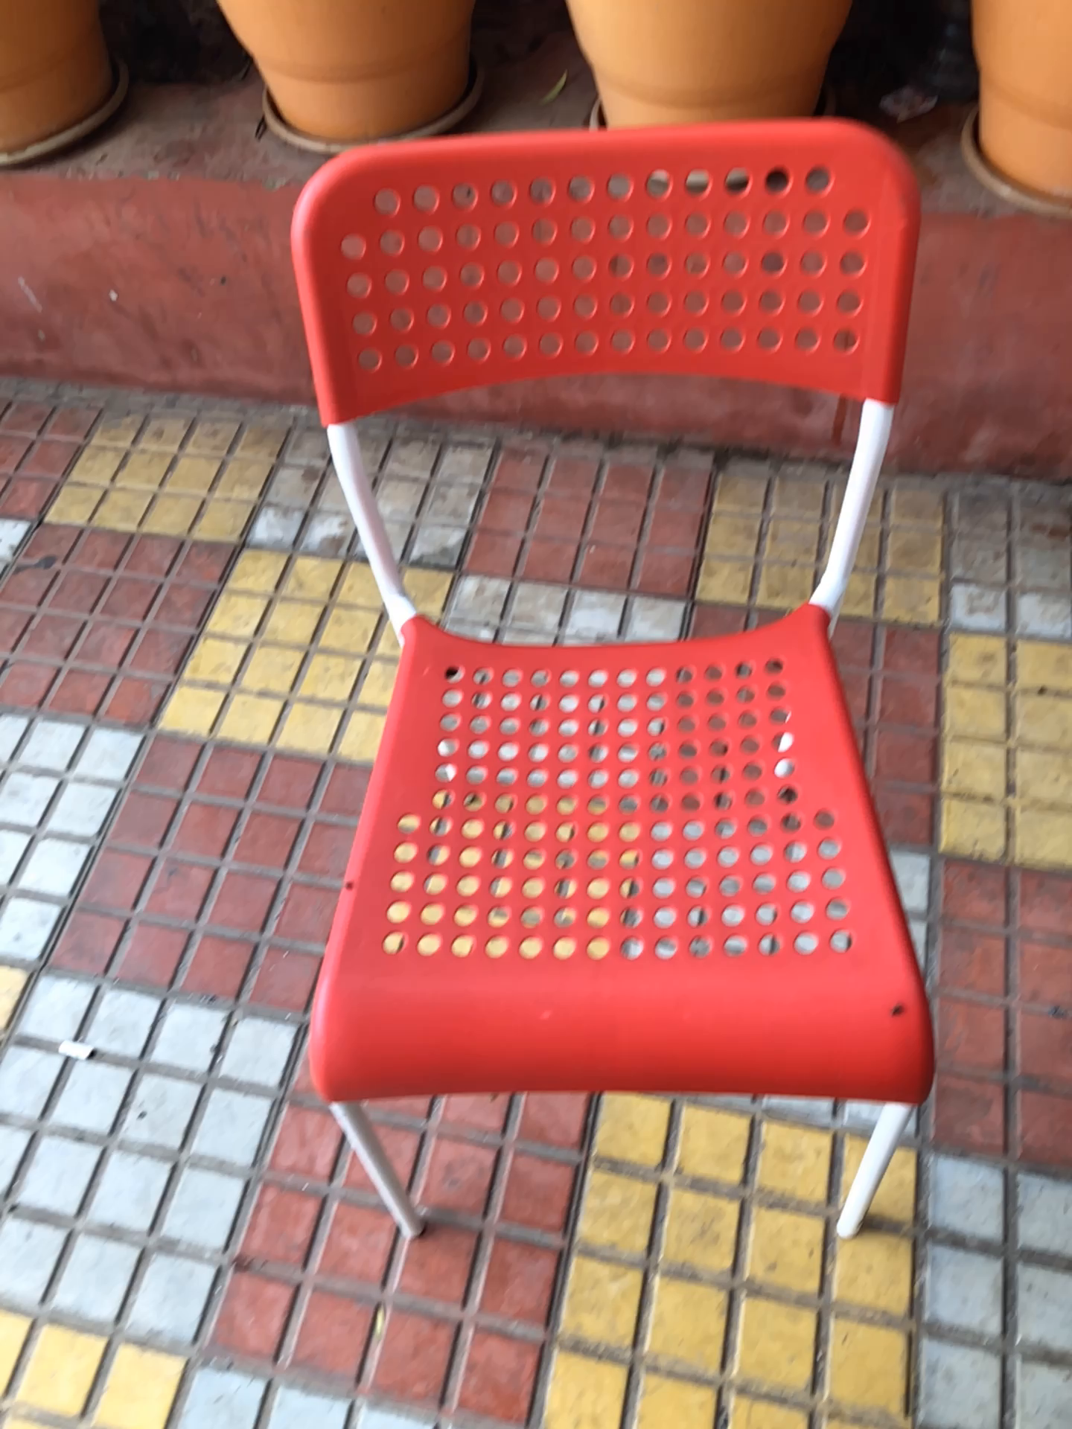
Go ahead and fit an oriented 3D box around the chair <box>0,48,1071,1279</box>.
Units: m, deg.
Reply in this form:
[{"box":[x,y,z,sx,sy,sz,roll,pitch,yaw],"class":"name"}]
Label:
[{"box":[0.034,0.041,0.827,0.450,0.697,0.543,-1,56,4],"class":"chair"}]
